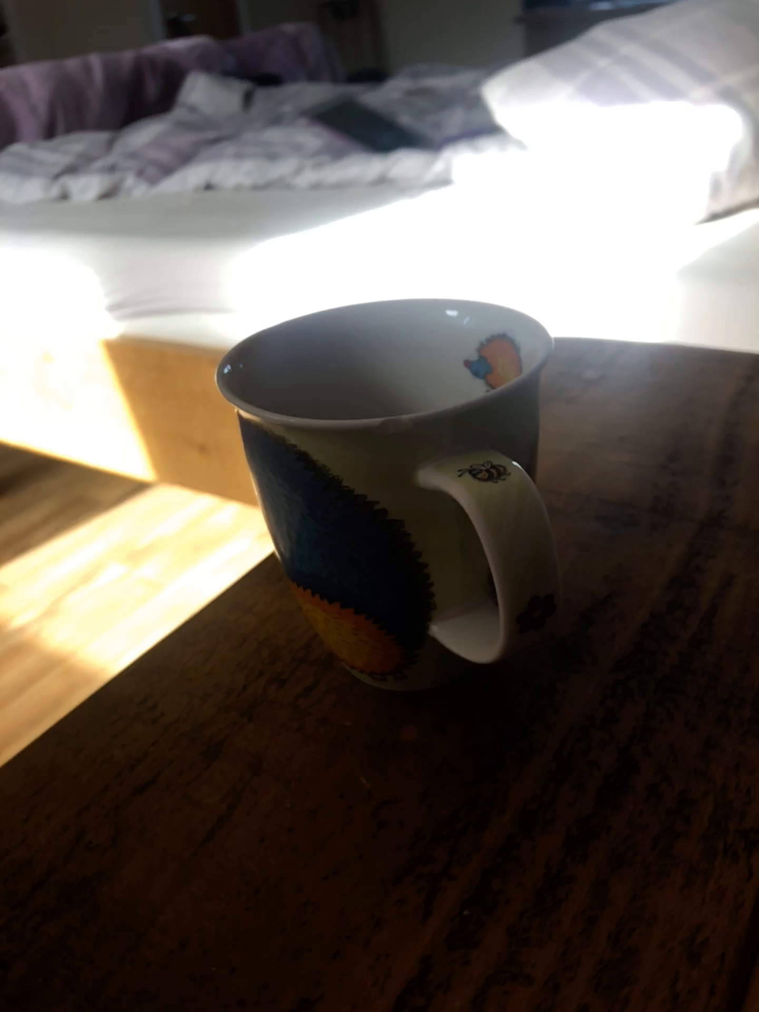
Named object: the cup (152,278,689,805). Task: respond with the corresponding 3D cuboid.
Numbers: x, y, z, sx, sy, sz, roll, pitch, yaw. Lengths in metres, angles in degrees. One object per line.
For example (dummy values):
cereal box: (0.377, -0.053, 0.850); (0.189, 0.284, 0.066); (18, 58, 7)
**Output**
cup: (0.006, -0.004, 0.268); (0.107, 0.089, 0.128); (-19, 32, -21)
